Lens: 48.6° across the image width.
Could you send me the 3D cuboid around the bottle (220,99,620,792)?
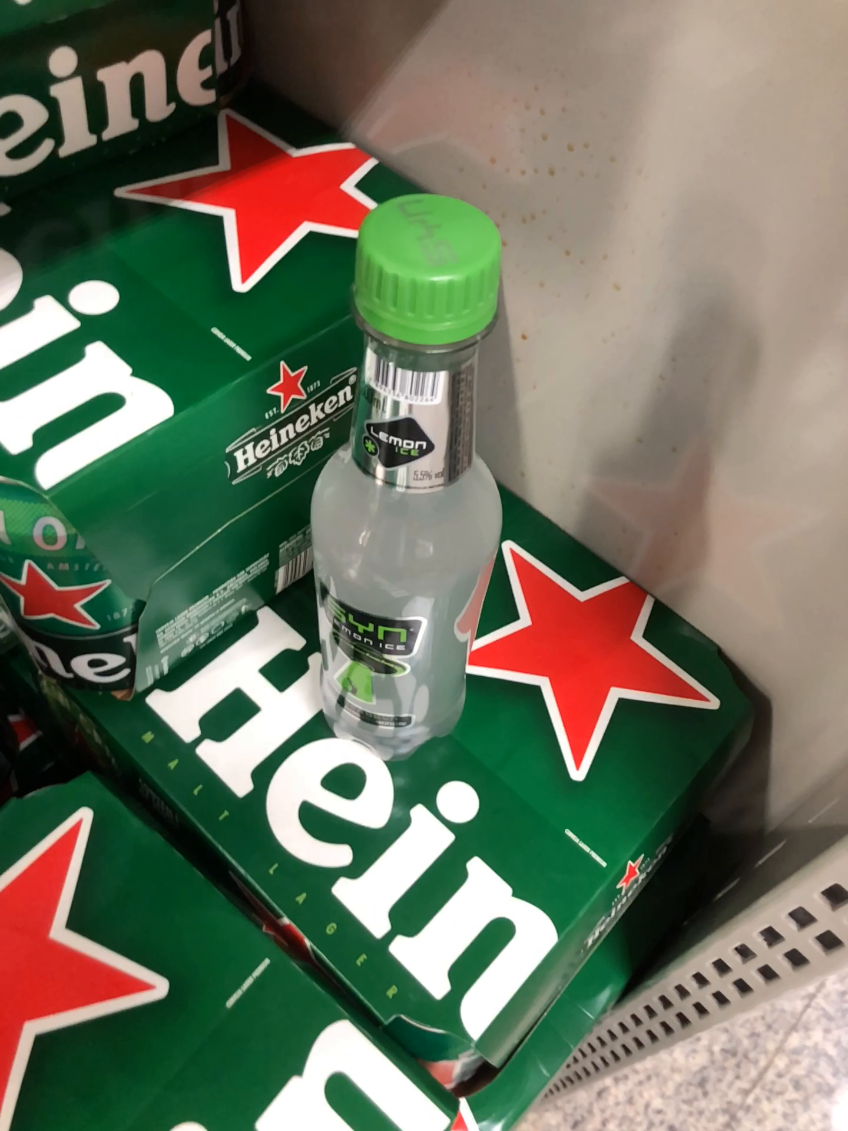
[{"bbox_3d":[-0.007,-0.012,0.274,0.060,0.209,0.060,3,55,-4],"label":"bottle"}]
